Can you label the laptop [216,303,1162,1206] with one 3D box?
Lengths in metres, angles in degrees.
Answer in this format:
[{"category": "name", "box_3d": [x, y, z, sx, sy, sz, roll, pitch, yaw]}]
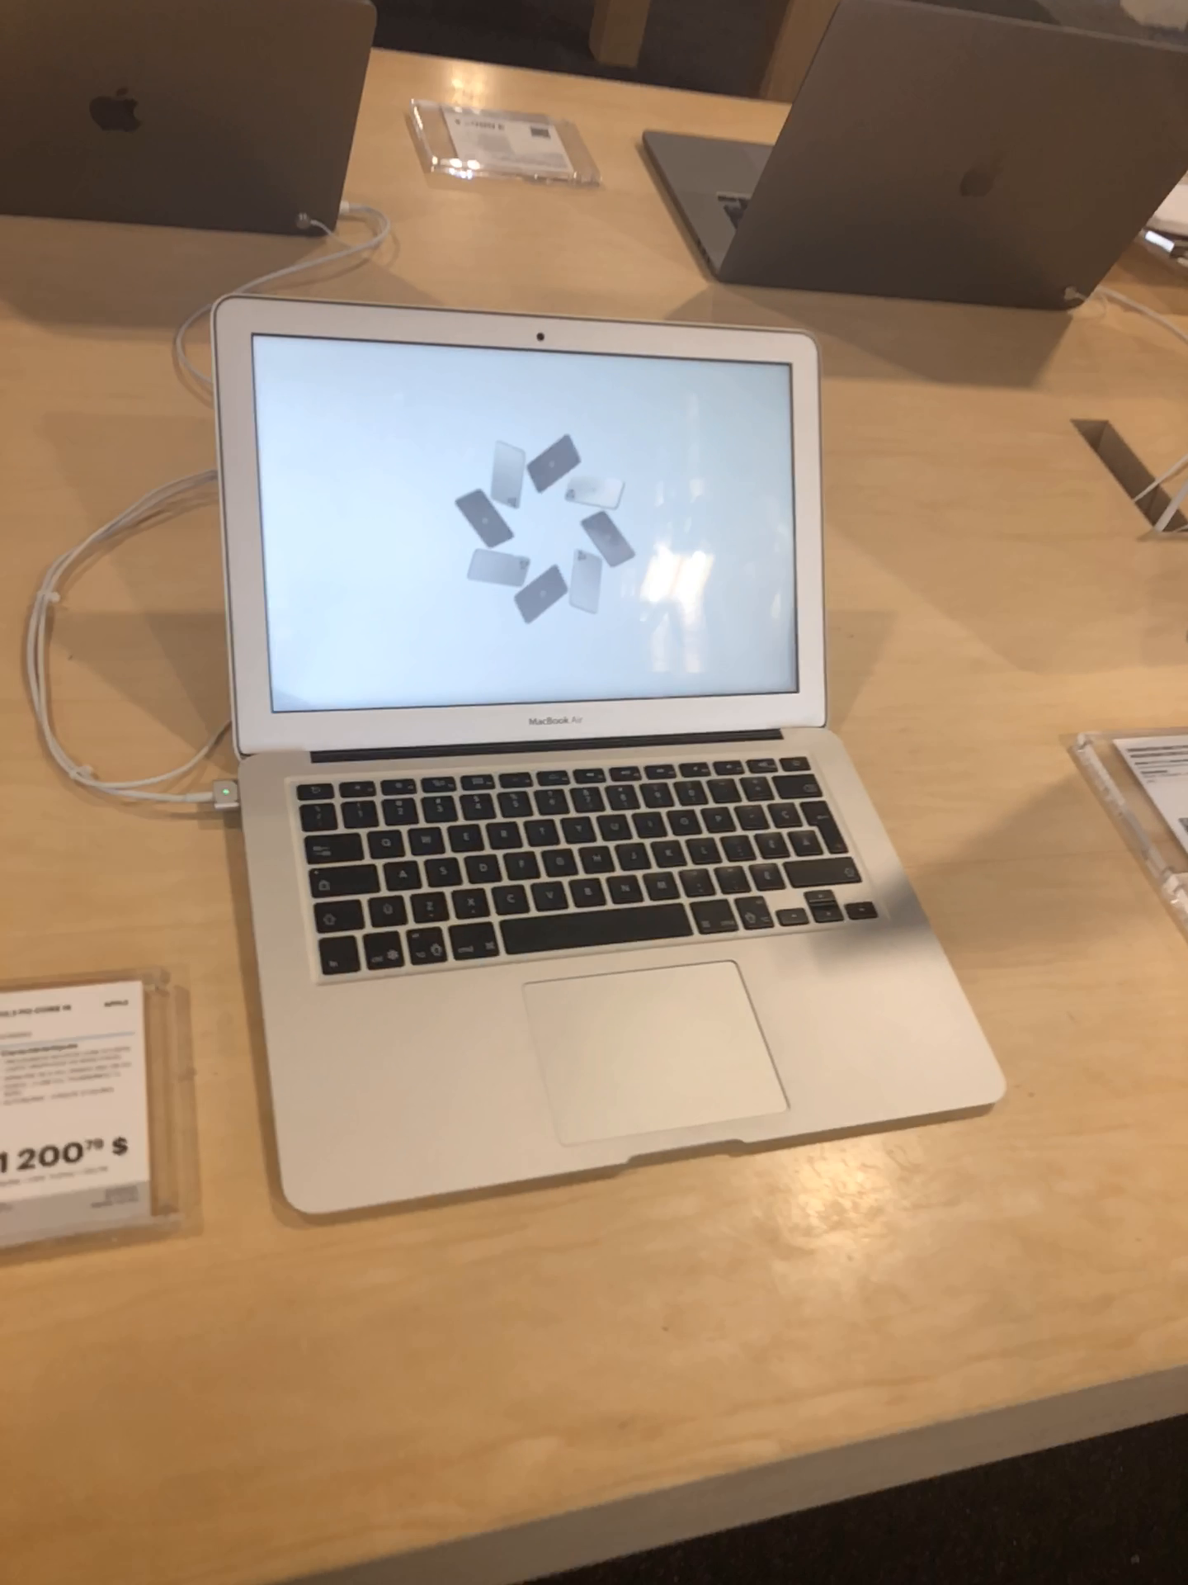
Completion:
[{"category": "laptop", "box_3d": [0.003, -0.044, 0.582, 0.303, 0.137, 0.371, -3, 51, -19]}]
